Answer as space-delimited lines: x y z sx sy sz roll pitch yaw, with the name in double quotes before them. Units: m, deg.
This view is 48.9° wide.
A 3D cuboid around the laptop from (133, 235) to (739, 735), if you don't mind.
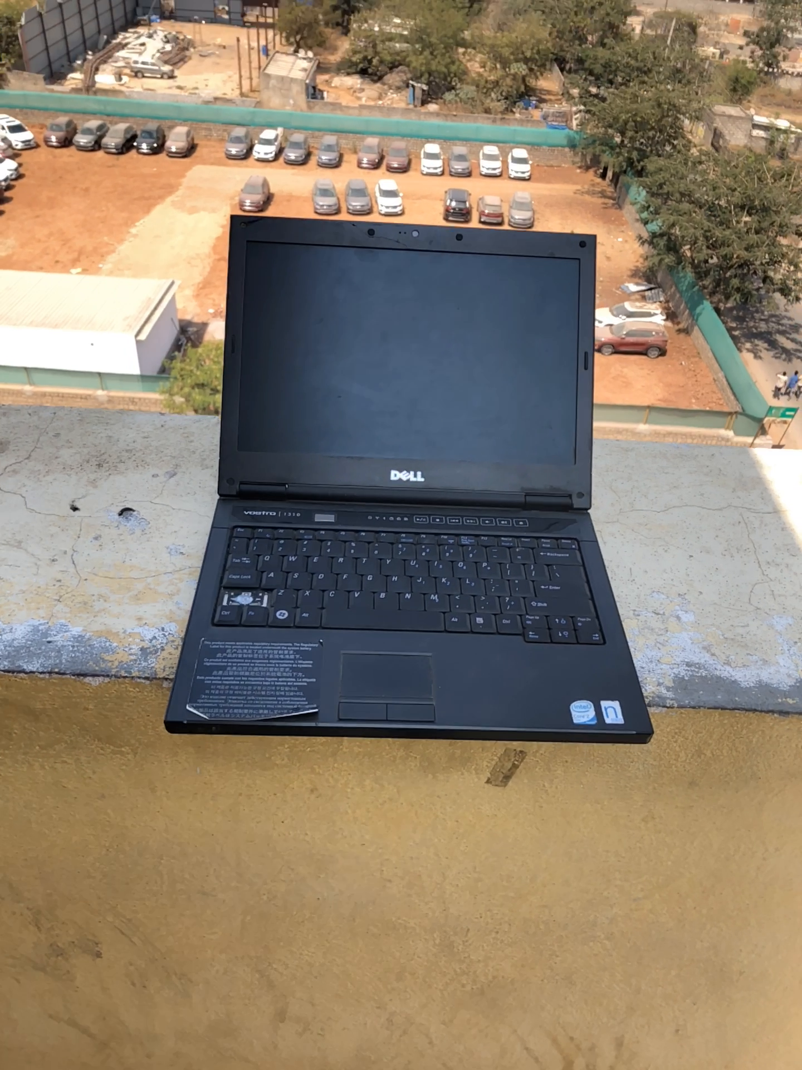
"laptop" 0.016 -0.062 0.642 0.301 0.178 0.378 2 38 -1
